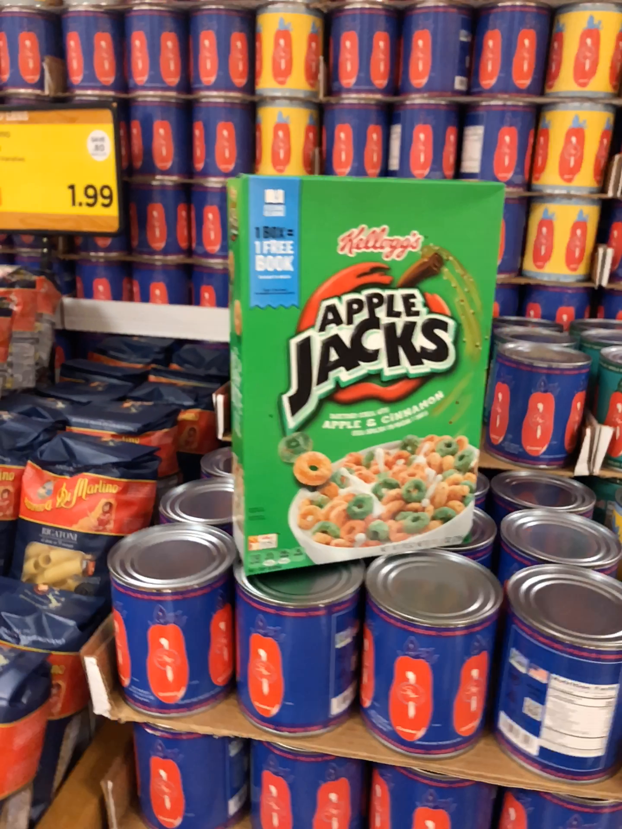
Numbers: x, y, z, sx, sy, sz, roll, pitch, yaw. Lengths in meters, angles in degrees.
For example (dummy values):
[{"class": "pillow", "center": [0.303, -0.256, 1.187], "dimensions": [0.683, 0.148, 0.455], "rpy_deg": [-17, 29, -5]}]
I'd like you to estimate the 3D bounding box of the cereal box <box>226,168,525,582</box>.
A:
[{"class": "cereal box", "center": [0.041, -0.030, 0.523], "dimensions": [0.200, 0.288, 0.060], "rpy_deg": [-4, 18, -17]}]
